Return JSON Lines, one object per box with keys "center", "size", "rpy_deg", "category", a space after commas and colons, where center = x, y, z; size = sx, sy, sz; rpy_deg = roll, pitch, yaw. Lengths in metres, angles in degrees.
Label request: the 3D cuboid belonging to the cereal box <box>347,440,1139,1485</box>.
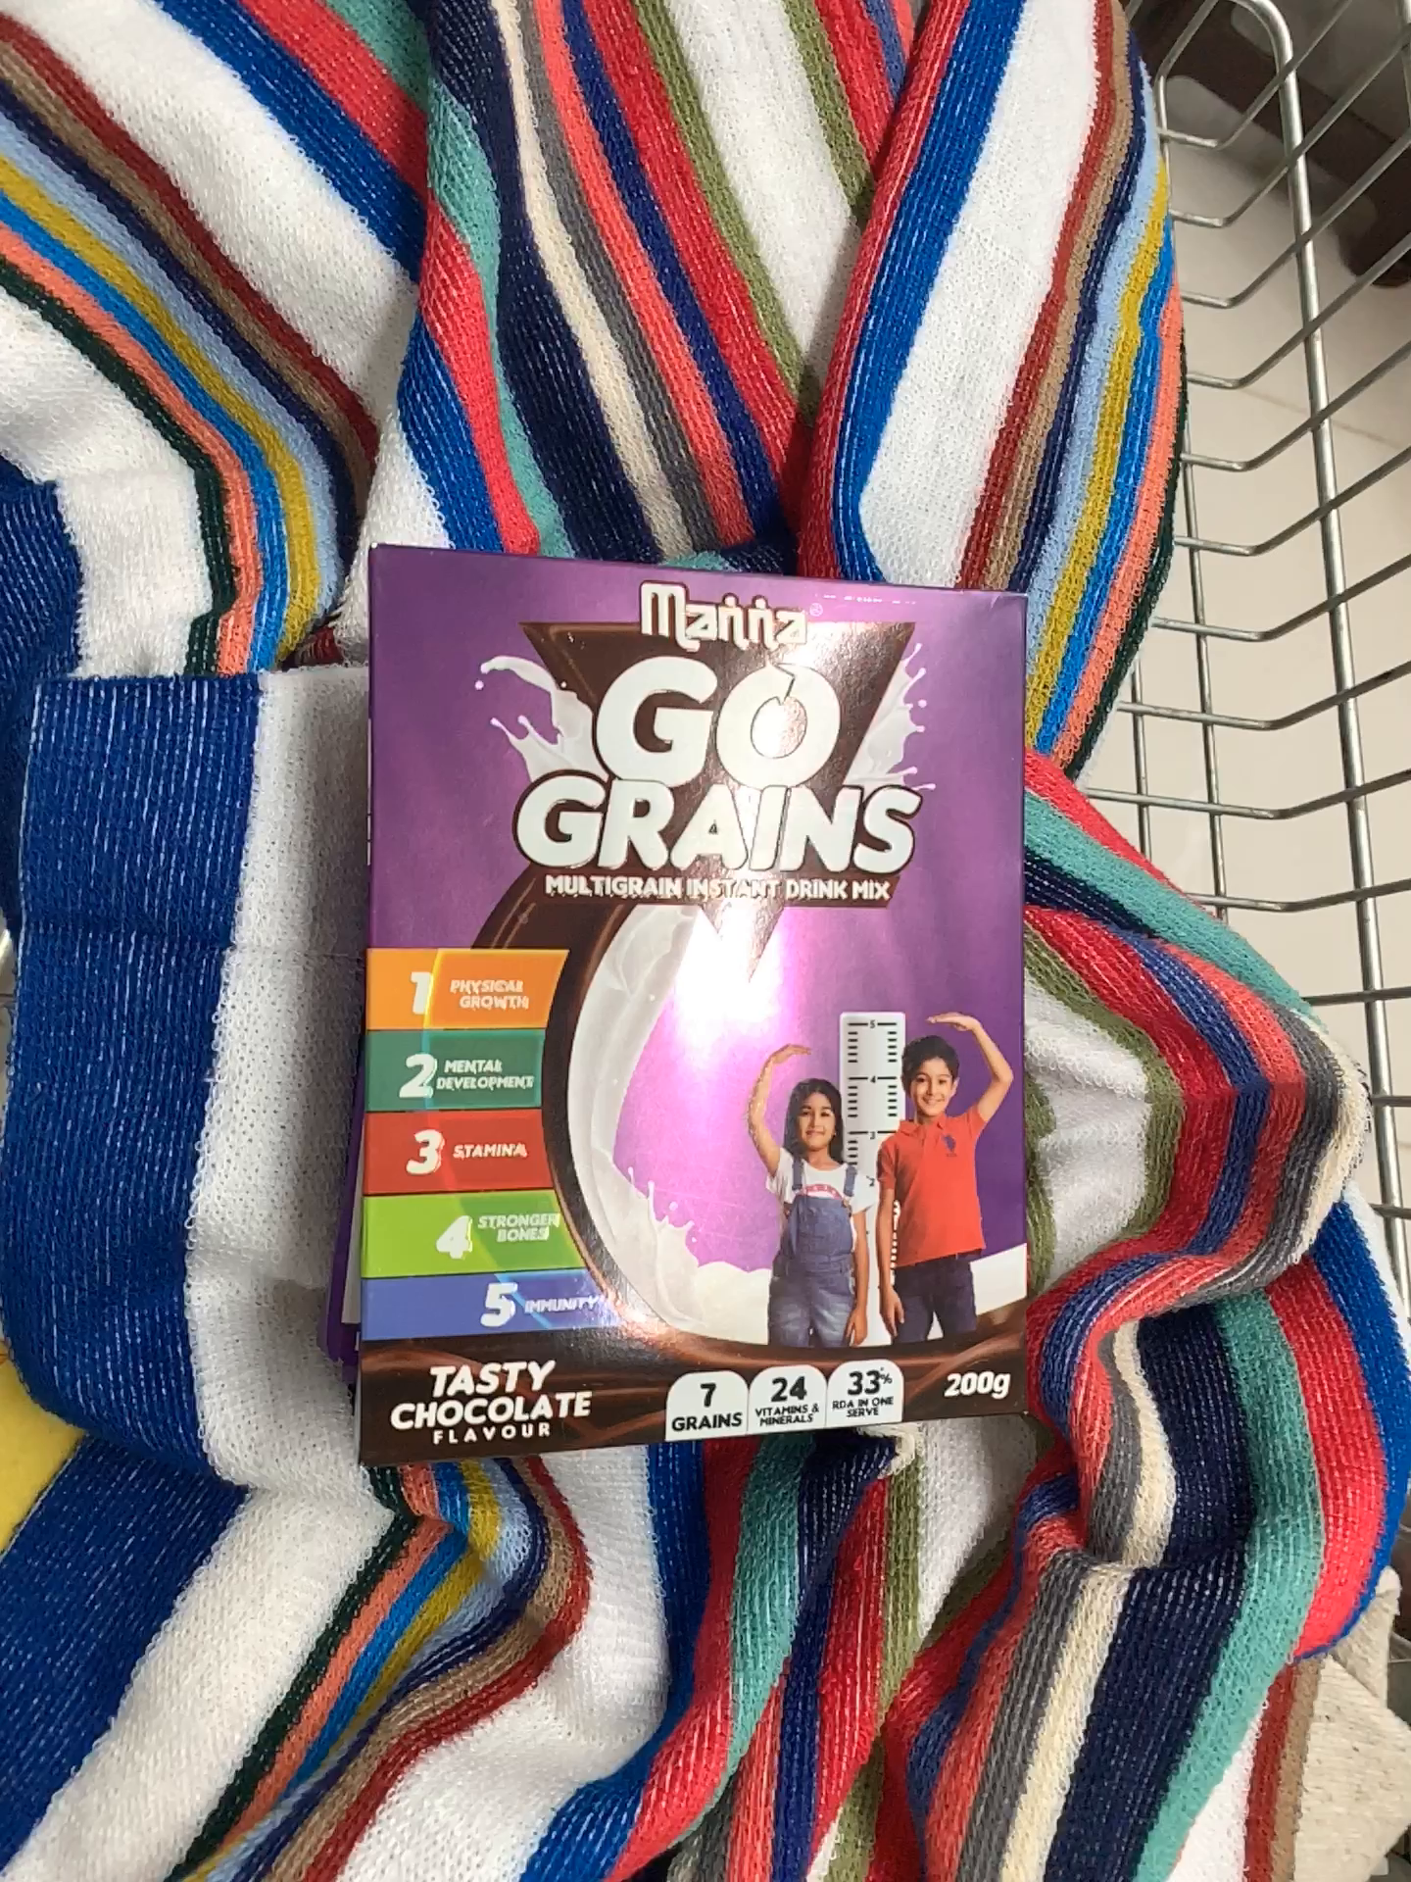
{"center": [0.006, 0.005, 0.280], "size": [0.140, 0.050, 0.170], "rpy_deg": [1, 91, -17], "category": "cereal box"}
